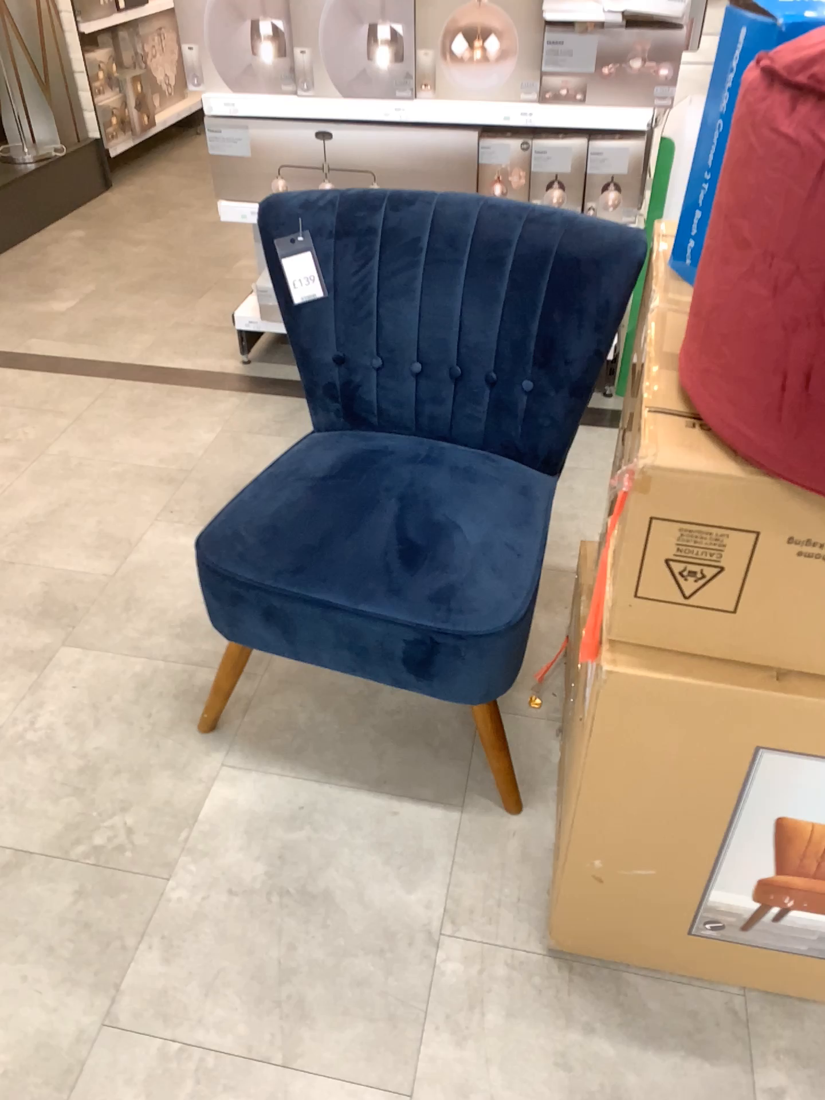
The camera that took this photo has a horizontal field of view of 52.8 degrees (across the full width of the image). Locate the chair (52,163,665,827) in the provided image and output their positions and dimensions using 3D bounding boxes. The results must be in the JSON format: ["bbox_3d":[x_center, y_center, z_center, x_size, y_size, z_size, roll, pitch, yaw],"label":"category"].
[{"bbox_3d":[-0.007,-0.138,1.461,0.691,0.792,0.726,11,40,14],"label":"chair"}]
